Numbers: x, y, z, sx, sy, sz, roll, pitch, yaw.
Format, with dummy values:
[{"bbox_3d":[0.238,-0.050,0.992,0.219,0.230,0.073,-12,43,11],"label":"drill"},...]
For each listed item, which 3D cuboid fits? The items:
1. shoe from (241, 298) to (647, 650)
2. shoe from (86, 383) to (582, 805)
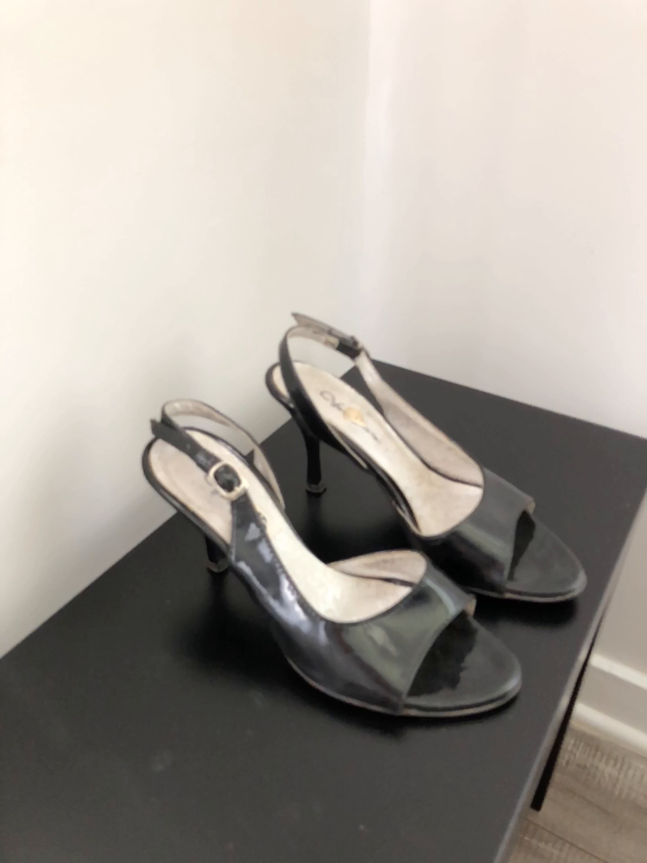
[{"bbox_3d":[0.063,0.013,0.408,0.211,0.110,0.083,22,40,29],"label":"shoe"},{"bbox_3d":[0.000,0.068,0.349,0.210,0.110,0.083,18,38,24],"label":"shoe"}]
